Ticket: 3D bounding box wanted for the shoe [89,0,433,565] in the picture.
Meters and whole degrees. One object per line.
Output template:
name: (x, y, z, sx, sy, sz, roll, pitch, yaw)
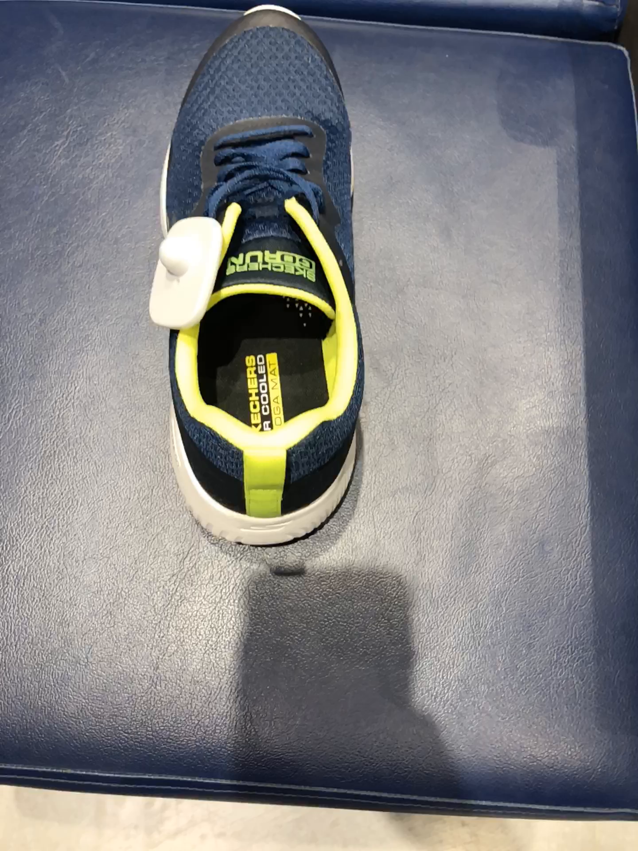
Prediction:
shoe: (-0.030, -0.073, 0.332, 0.113, 0.132, 0.255, -4, 74, -2)
